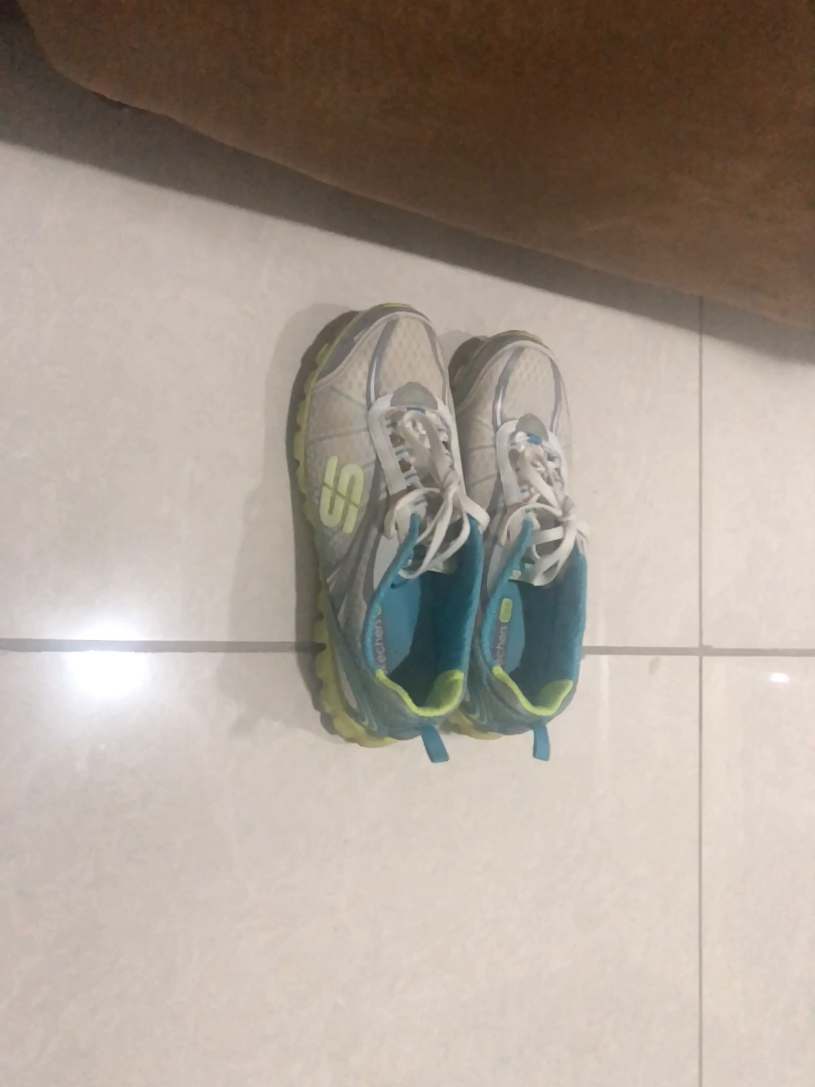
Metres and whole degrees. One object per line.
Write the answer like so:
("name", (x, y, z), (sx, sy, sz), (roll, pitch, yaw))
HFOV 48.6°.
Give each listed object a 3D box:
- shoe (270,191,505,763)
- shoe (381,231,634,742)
("shoe", (-0.013, -0.032, 0.537), (0.100, 0.100, 0.300), (3, 85, -28))
("shoe", (0.066, -0.029, 0.595), (0.110, 0.100, 0.300), (8, 83, -27))
